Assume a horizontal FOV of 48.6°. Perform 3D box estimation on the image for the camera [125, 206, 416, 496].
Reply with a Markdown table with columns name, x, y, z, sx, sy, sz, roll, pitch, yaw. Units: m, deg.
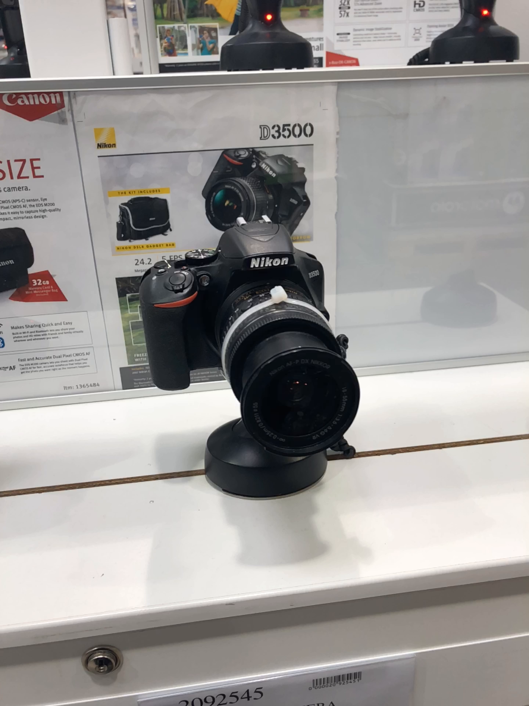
| name | x | y | z | sx | sy | sz | roll | pitch | yaw |
| --- | --- | --- | --- | --- | --- | --- | --- | --- | --- |
| camera | -0.011 | -0.020 | 0.383 | 0.140 | 0.110 | 0.191 | -7 | 24 | -10 |
